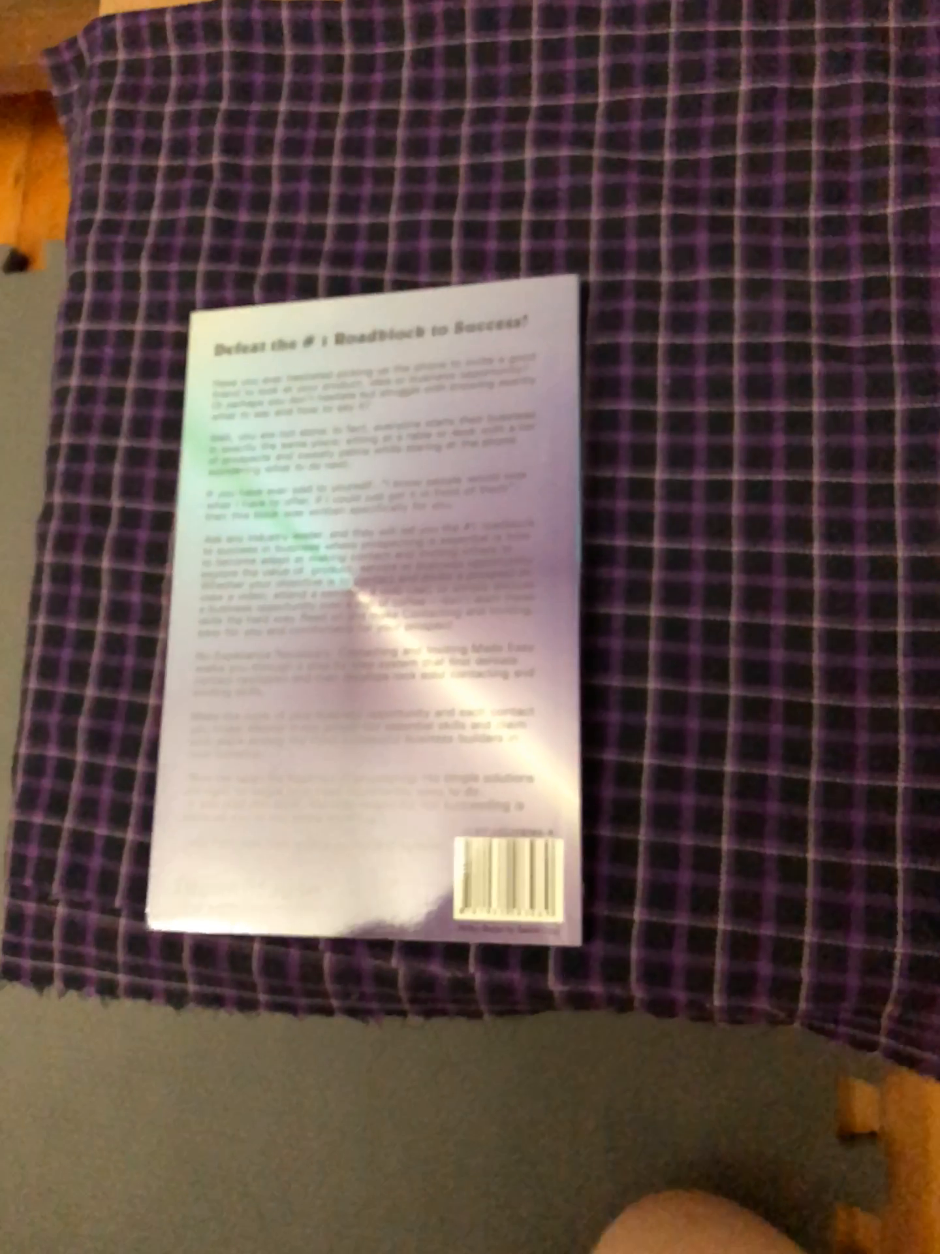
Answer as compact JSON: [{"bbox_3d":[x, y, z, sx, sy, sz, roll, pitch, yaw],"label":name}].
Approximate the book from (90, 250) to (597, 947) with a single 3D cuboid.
[{"bbox_3d":[-0.040,-0.012,0.351,0.160,0.020,0.220,-2,78,12],"label":"book"}]
